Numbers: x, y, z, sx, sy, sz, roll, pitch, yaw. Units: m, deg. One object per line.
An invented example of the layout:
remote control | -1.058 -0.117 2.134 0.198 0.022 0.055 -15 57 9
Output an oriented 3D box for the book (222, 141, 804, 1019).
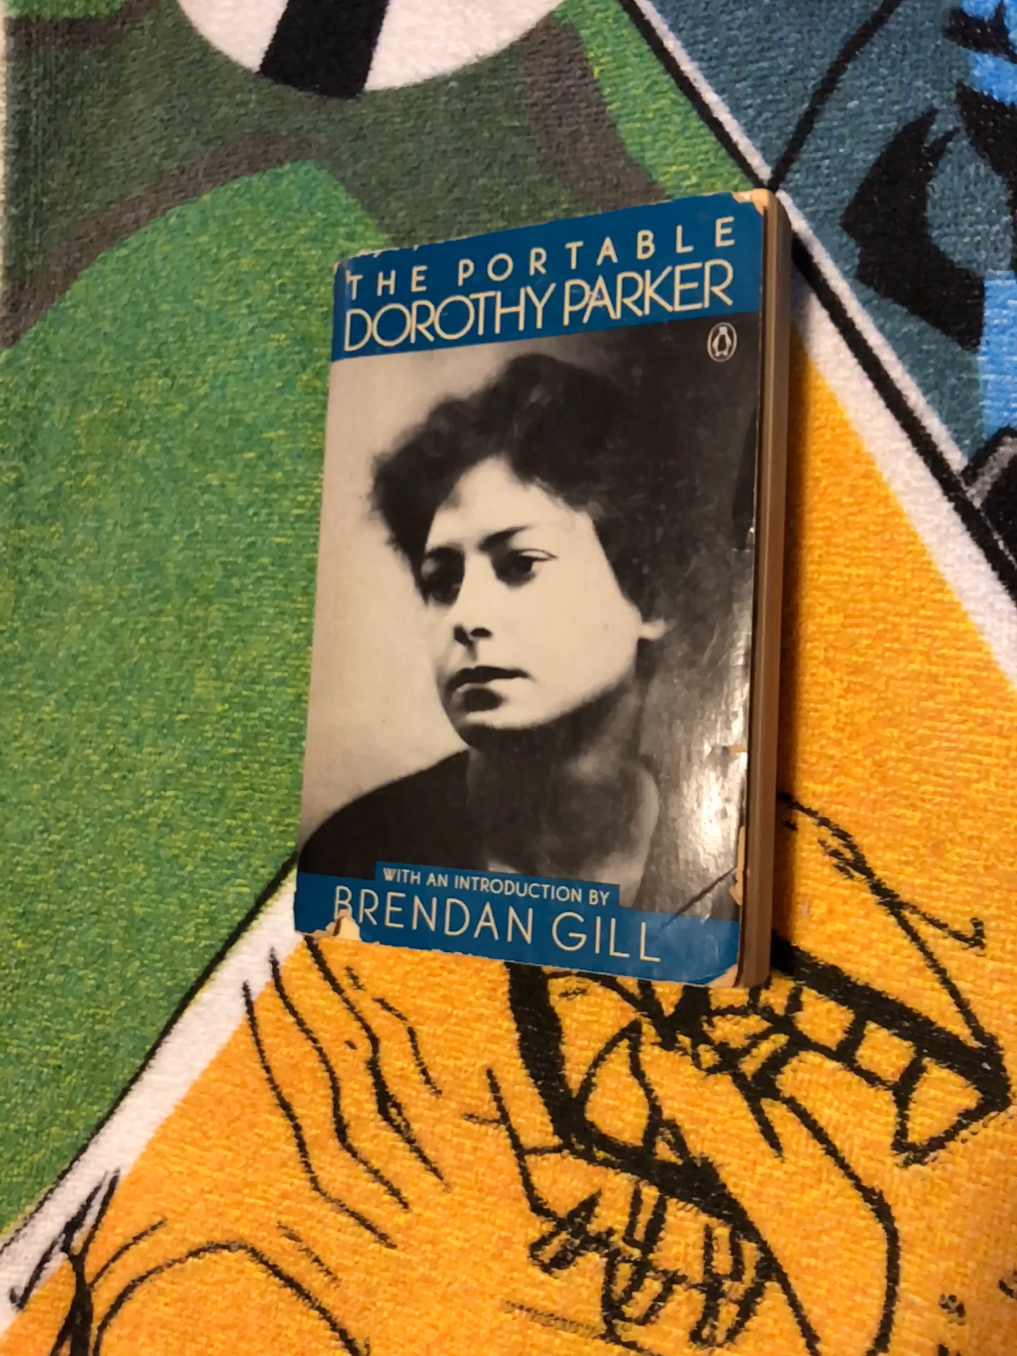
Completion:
book | 0.001 -0.024 0.301 0.140 0.040 0.200 1 85 22
